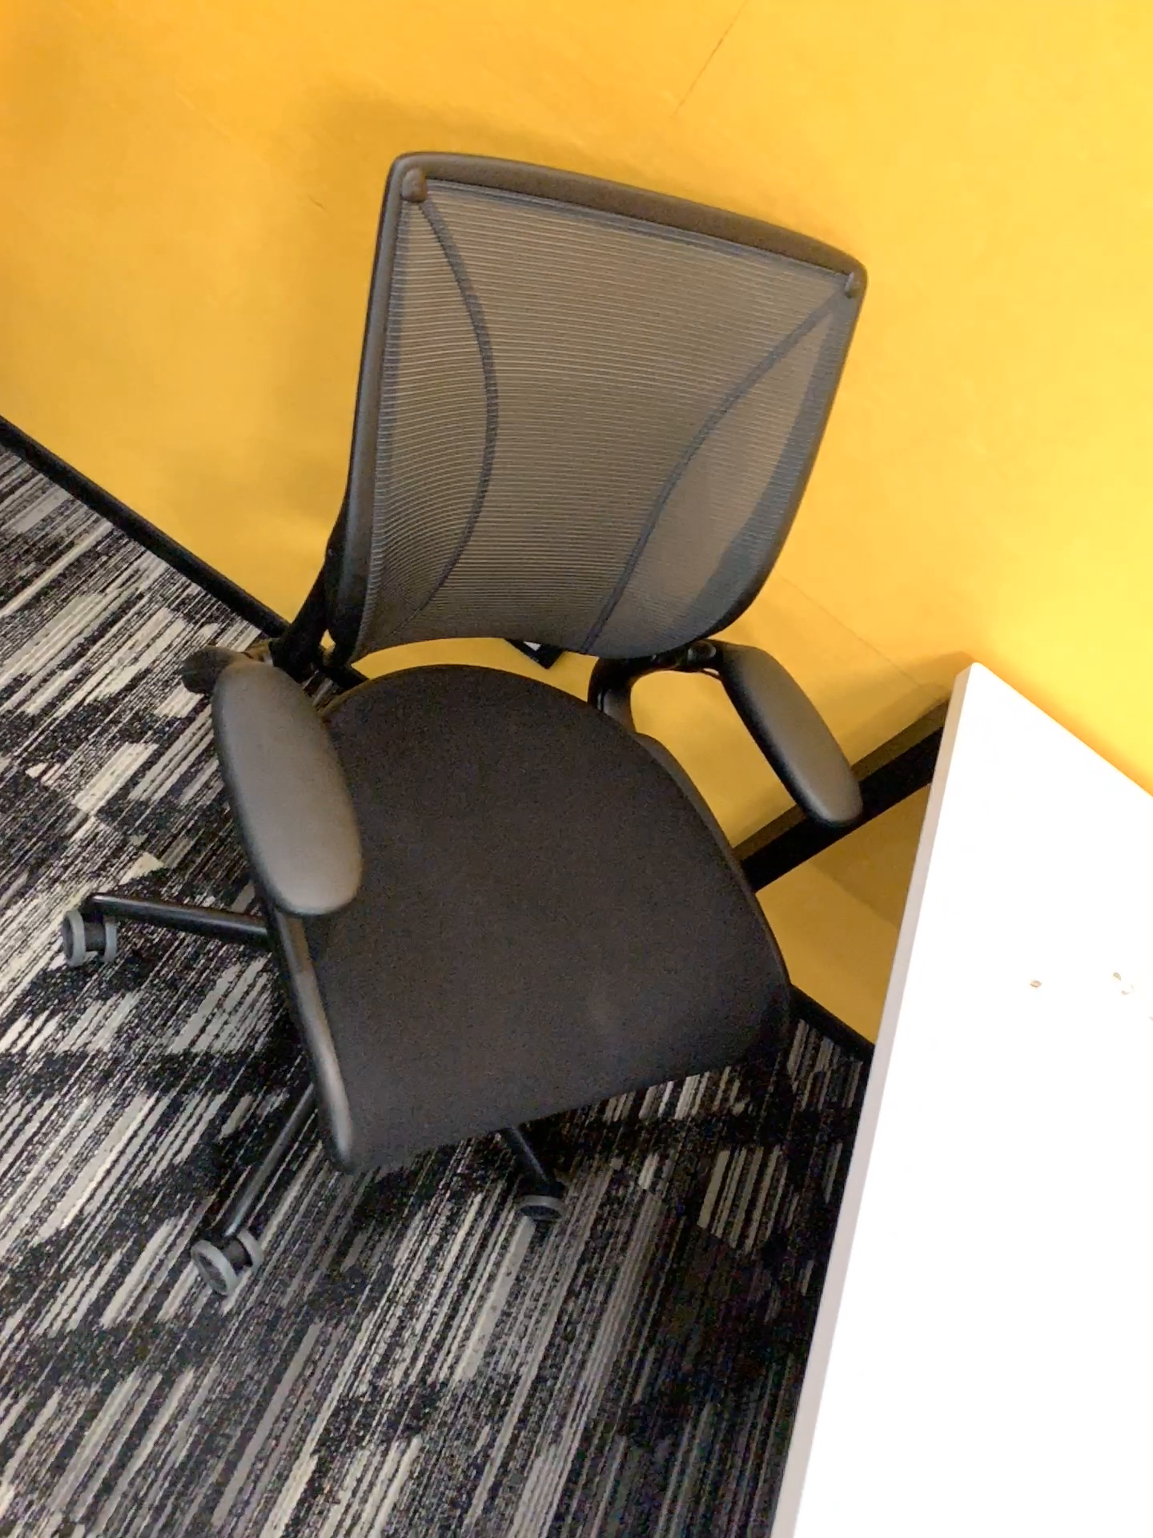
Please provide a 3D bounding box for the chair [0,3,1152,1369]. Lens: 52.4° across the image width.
[{"bbox_3d":[-0.058,0.035,0.941,0.543,0.814,0.571,-9,68,-37],"label":"chair"}]
